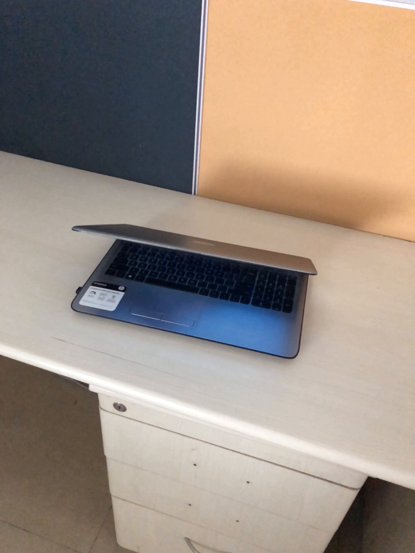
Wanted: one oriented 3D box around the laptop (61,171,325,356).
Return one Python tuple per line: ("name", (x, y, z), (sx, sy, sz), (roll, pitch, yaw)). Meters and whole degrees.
("laptop", (-0.008, -0.038, 0.766), (0.363, 0.132, 0.239), (12, 39, 8))
